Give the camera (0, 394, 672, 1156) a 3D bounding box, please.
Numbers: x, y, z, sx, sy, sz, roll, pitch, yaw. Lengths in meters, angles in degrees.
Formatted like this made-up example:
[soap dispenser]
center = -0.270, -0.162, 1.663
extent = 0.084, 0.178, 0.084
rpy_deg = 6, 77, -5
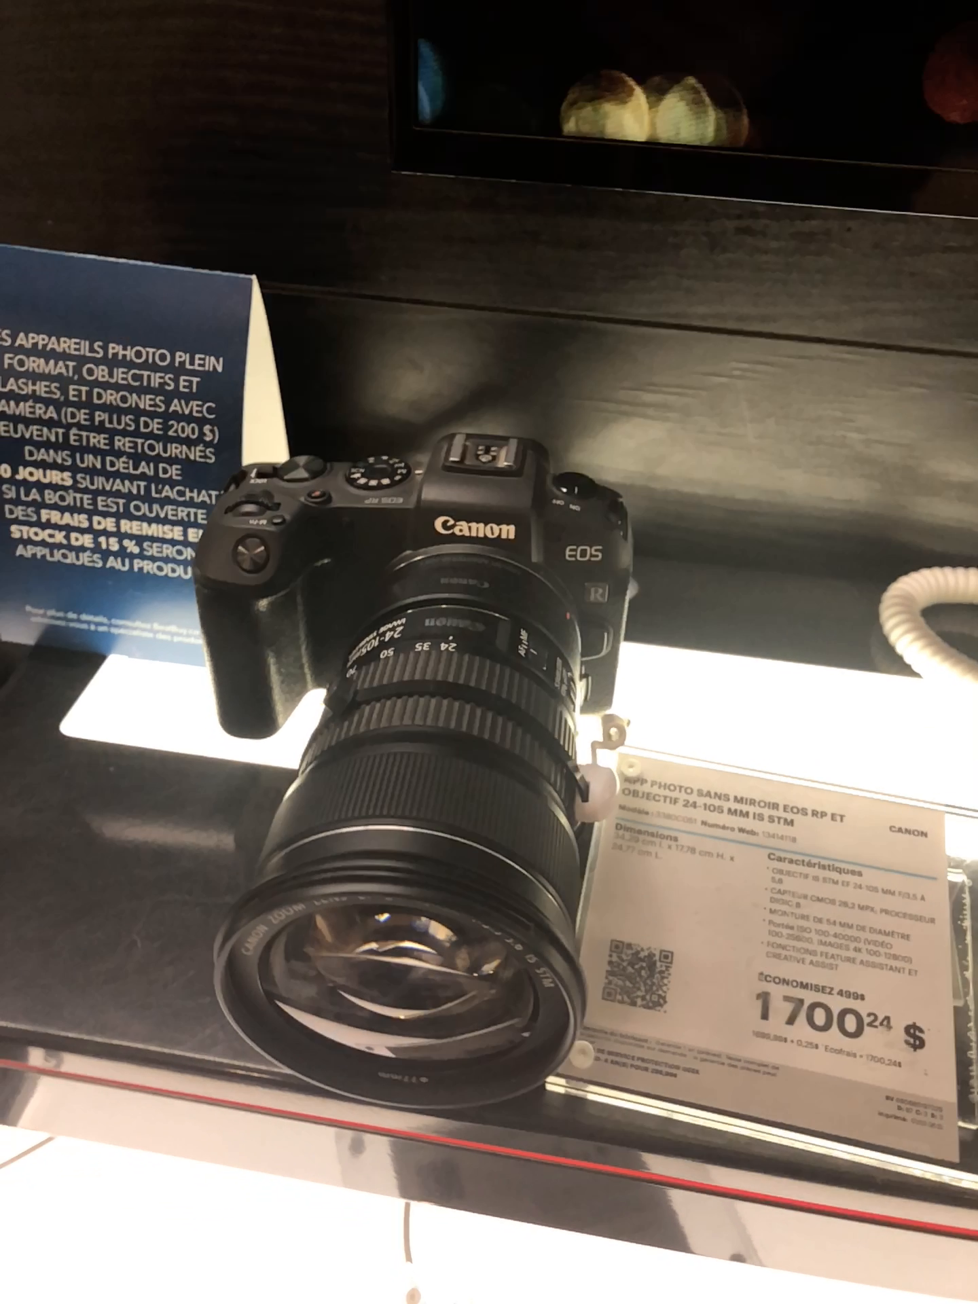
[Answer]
[camera]
center = -0.024, 0.016, 0.294
extent = 0.128, 0.099, 0.178
rpy_deg = 5, 35, 4
